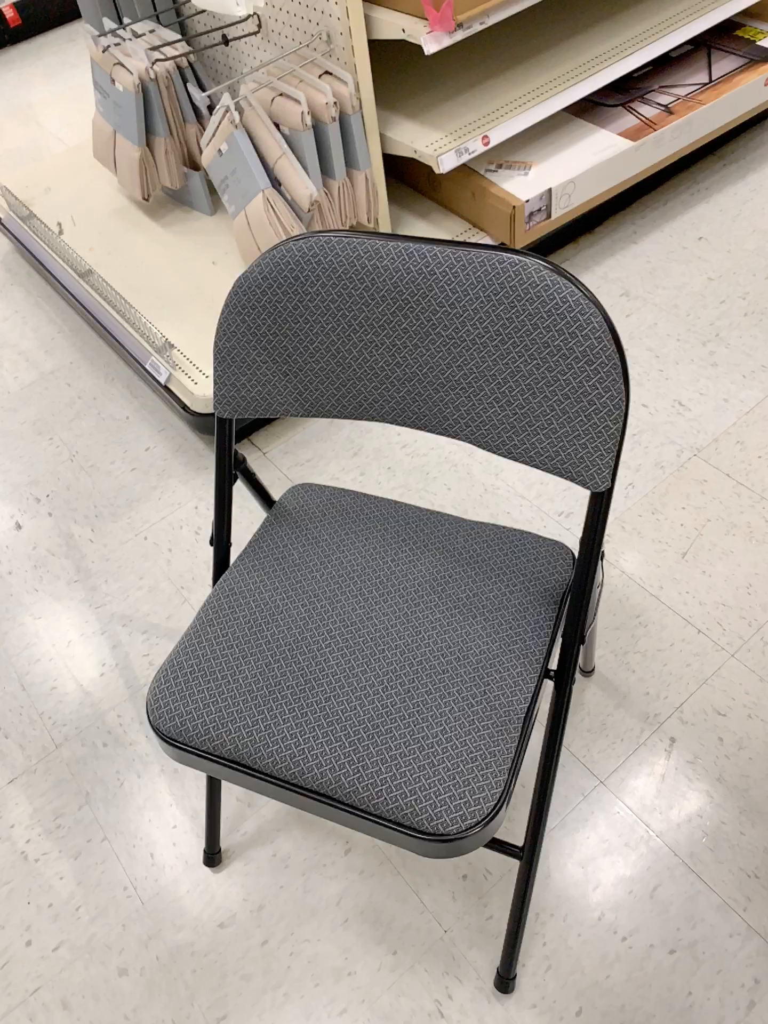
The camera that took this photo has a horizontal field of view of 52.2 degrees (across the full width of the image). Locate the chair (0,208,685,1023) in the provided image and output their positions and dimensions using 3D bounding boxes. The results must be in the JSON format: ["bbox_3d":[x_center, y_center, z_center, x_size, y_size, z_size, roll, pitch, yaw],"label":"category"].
[{"bbox_3d":[-0.019,0.136,0.898,0.501,0.677,0.551,13,55,19],"label":"chair"}]
